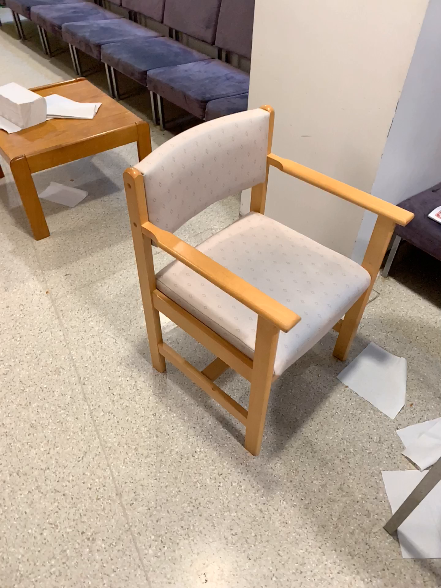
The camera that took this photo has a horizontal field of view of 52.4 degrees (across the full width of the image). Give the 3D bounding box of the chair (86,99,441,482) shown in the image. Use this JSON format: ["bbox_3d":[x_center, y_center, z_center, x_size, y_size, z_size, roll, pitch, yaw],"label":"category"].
[{"bbox_3d":[0.126,-0.050,1.265,0.633,0.634,0.633,36,54,29],"label":"chair"}]
